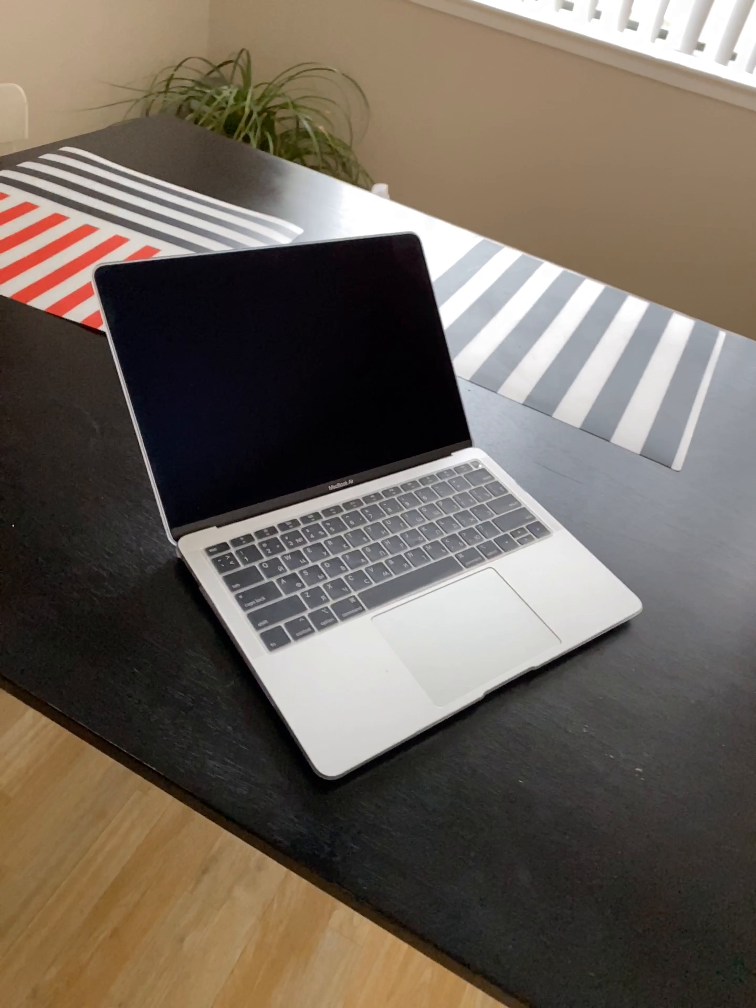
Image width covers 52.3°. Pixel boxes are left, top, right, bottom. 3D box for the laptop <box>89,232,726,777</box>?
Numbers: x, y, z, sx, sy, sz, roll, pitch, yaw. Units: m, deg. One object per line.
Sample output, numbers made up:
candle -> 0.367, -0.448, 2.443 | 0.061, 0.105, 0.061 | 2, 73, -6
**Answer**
laptop -> 0.001, -0.045, 0.583 | 0.297, 0.139, 0.362 | -19, 51, -32
